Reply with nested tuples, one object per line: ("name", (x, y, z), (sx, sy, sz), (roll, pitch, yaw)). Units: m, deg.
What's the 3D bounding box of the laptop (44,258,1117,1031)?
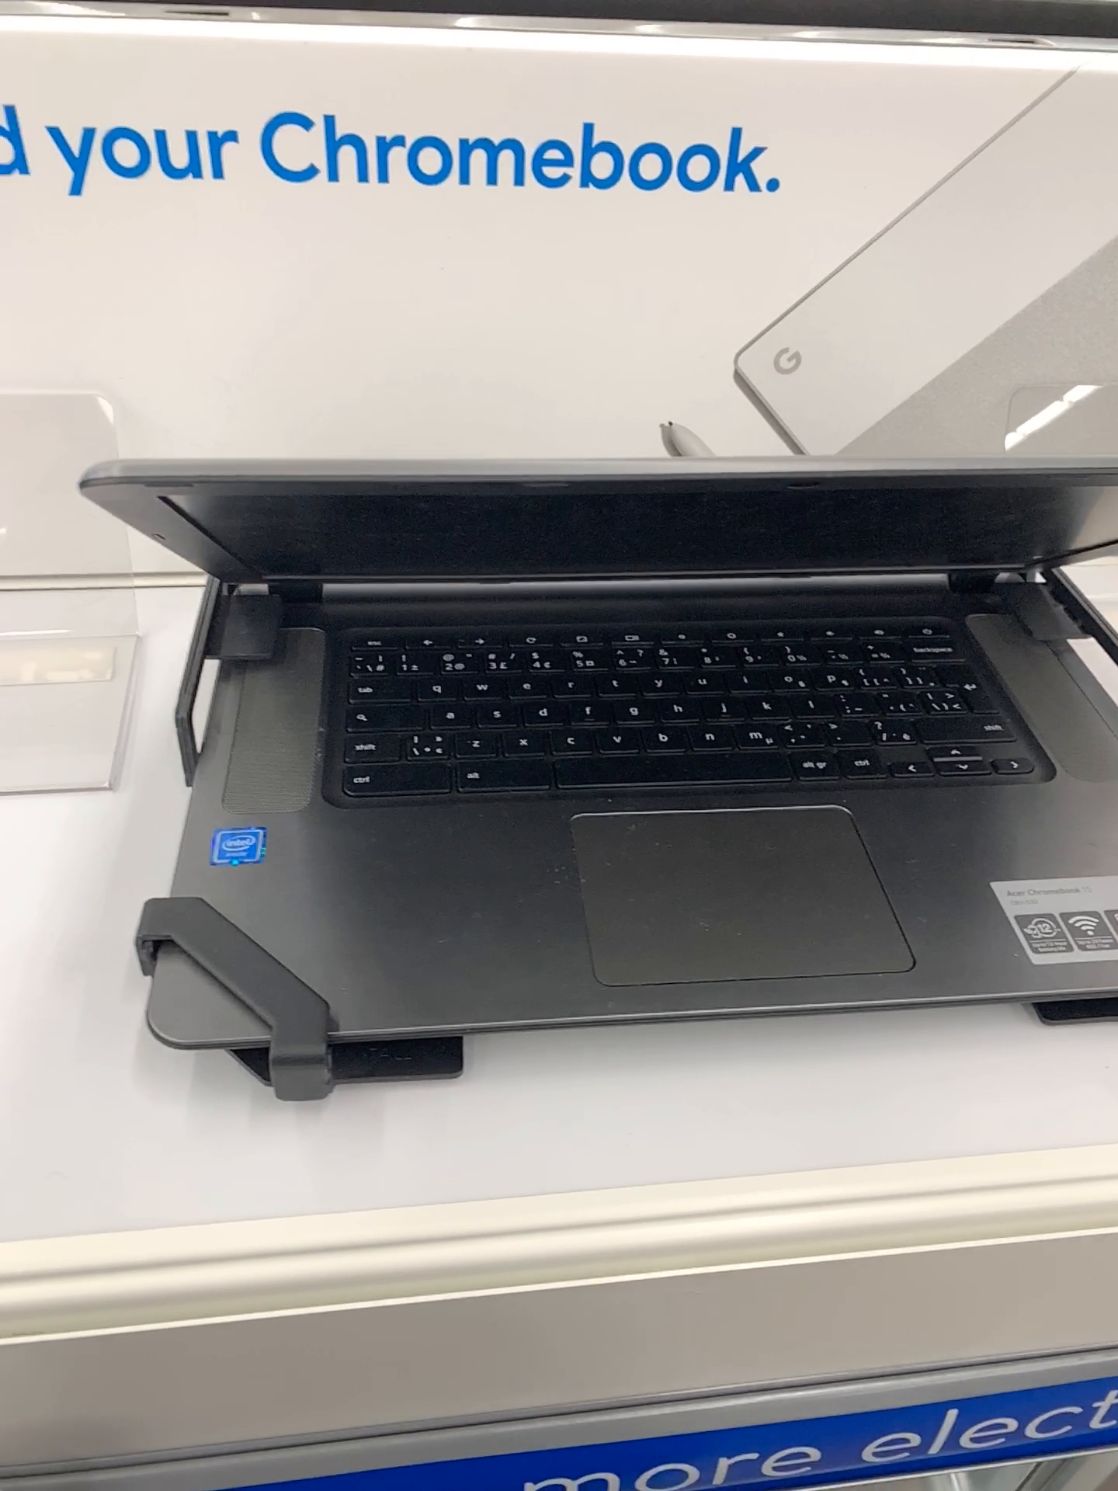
("laptop", (0.043, -0.044, 0.331), (0.301, 0.116, 0.194), (-2, 41, -6))
